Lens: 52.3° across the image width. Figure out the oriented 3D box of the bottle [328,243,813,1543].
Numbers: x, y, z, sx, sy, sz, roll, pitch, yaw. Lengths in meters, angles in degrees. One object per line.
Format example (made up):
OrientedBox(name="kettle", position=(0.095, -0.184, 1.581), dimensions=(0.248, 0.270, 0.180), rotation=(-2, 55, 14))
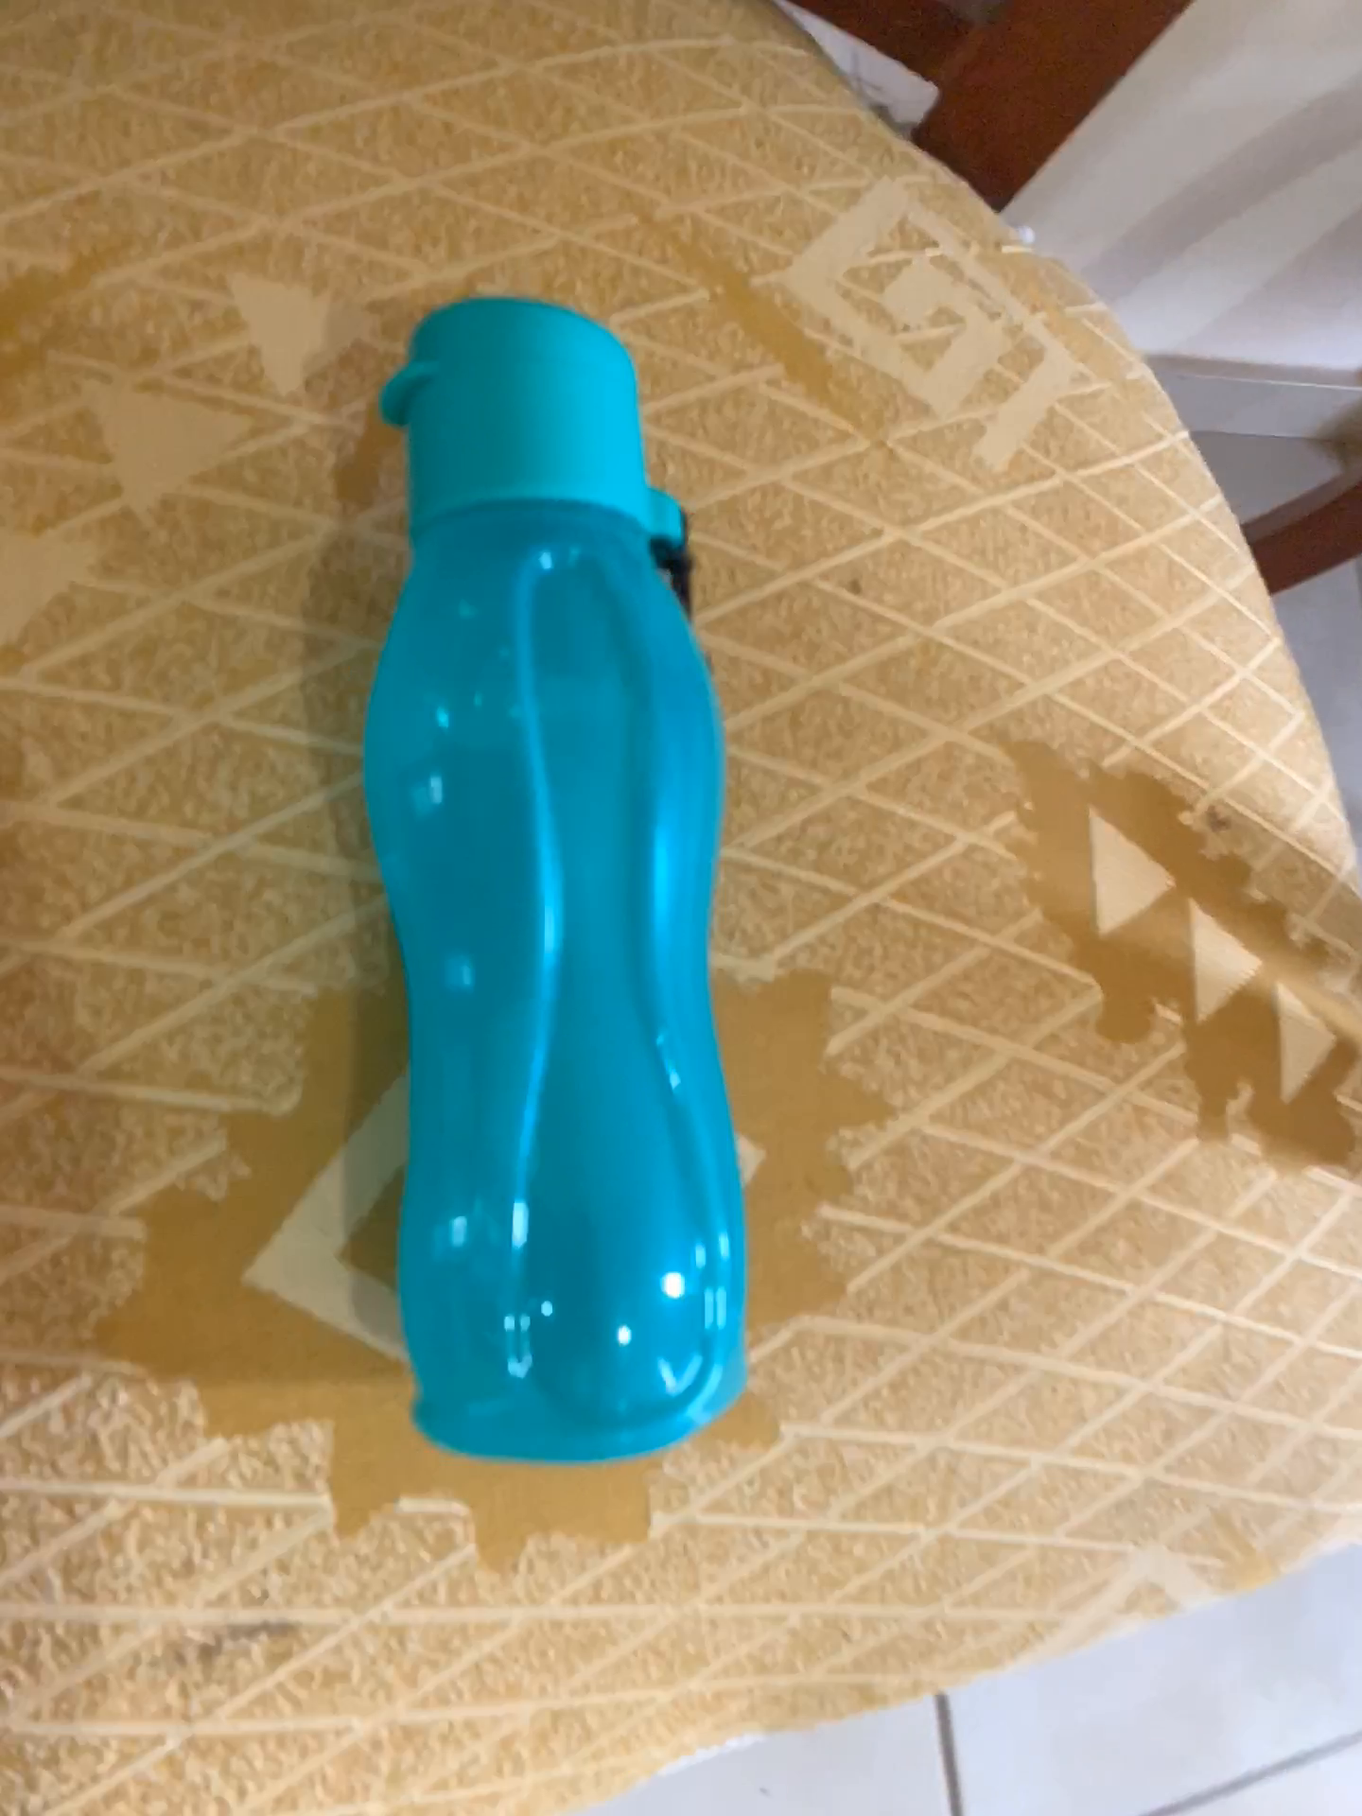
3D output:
OrientedBox(name="bottle", position=(-0.023, -0.004, 0.247), dimensions=(0.070, 0.050, 0.200), rotation=(0, 84, -20))
